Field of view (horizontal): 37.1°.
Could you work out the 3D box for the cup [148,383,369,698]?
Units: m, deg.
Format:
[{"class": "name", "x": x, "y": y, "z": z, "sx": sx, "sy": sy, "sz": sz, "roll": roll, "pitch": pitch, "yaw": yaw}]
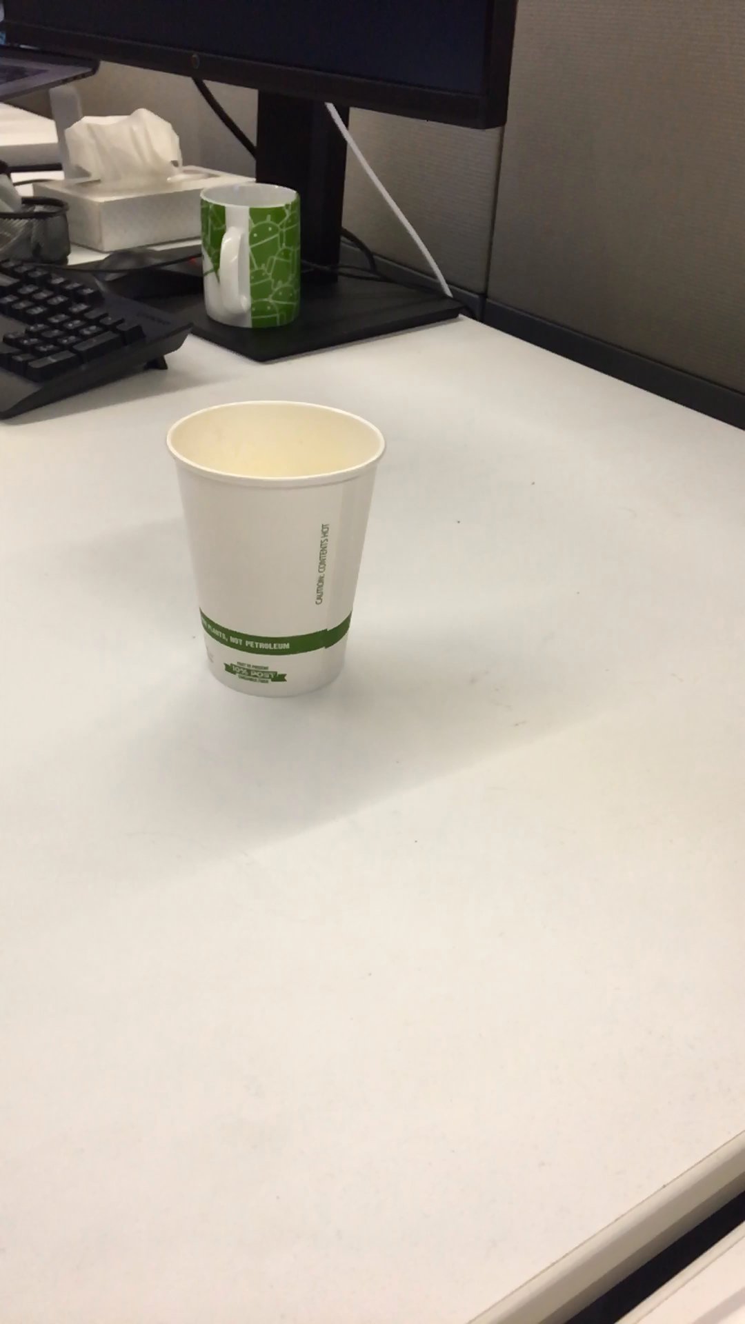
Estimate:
[{"class": "cup", "x": -0.044, "y": -0.053, "z": 0.469, "sx": 0.080, "sy": 0.100, "sz": 0.090, "roll": 2, "pitch": 32, "yaw": -1}]
